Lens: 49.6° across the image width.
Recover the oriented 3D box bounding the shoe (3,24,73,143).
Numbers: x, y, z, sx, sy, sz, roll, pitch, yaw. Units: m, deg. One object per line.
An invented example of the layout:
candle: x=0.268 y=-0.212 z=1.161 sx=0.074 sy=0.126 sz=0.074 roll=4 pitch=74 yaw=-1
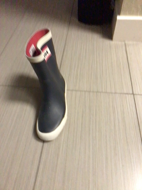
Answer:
shoe: x=-0.062 y=-0.034 z=0.466 sx=0.102 sy=0.217 sz=0.280 roll=0 pitch=53 yaw=7
